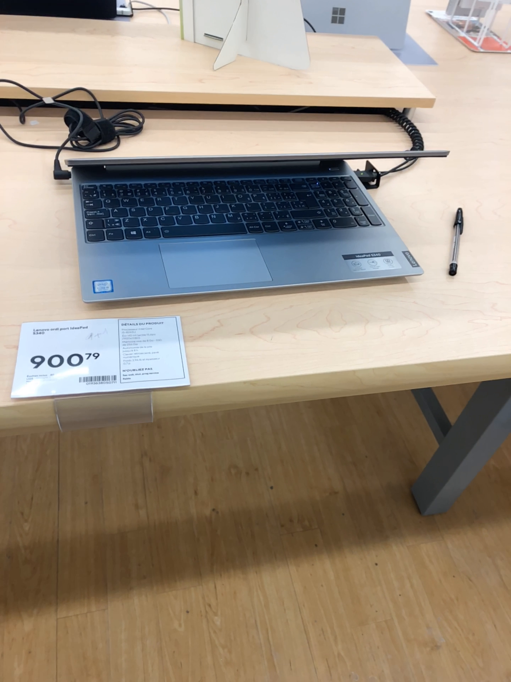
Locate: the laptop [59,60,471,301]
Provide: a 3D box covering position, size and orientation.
[{"bbox_3d":[-0.010,-0.180,0.586,0.351,0.122,0.234,-6,48,-16],"label":"laptop"}]
